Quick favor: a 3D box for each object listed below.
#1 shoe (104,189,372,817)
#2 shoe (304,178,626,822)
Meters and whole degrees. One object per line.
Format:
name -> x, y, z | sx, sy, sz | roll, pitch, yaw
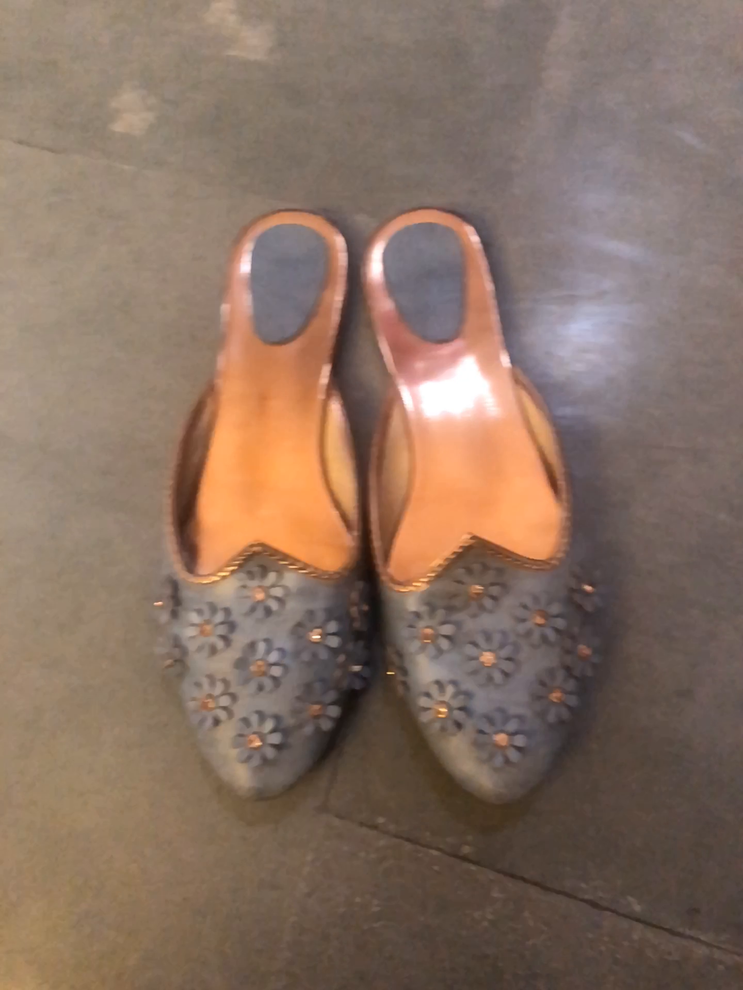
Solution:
shoe -> -0.053, -0.002, 0.374 | 0.100, 0.050, 0.270 | -2, 76, 5
shoe -> 0.035, -0.004, 0.374 | 0.100, 0.050, 0.270 | -7, 76, 3
